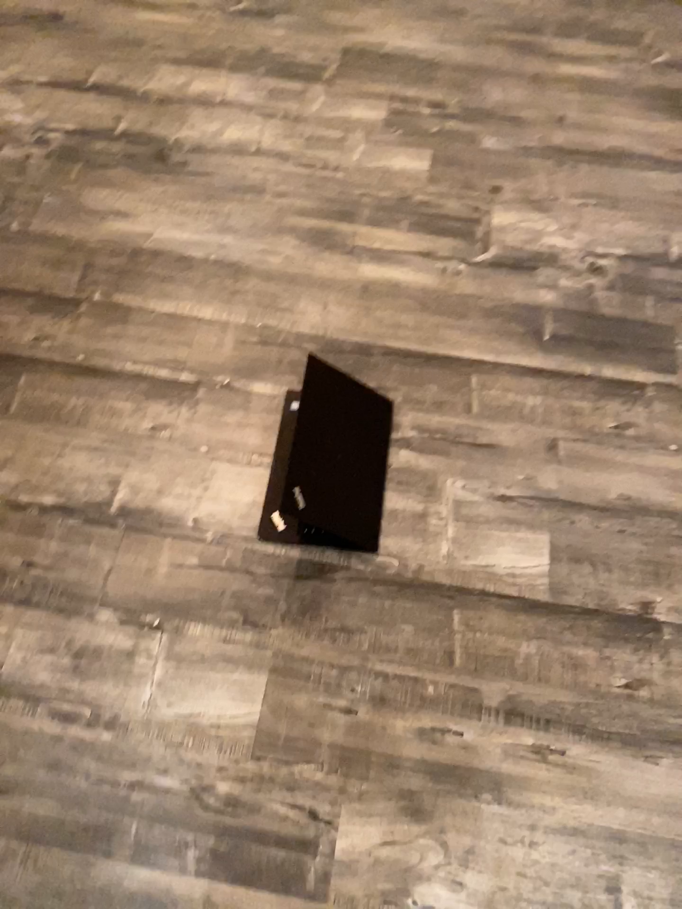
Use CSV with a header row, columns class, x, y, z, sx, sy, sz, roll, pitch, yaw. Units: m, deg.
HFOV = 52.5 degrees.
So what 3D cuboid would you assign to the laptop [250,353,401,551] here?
class,x,y,z,sx,sy,sz,roll,pitch,yaw
laptop,-0.020,-0.008,1.250,0.218,0.124,0.315,7,61,3
